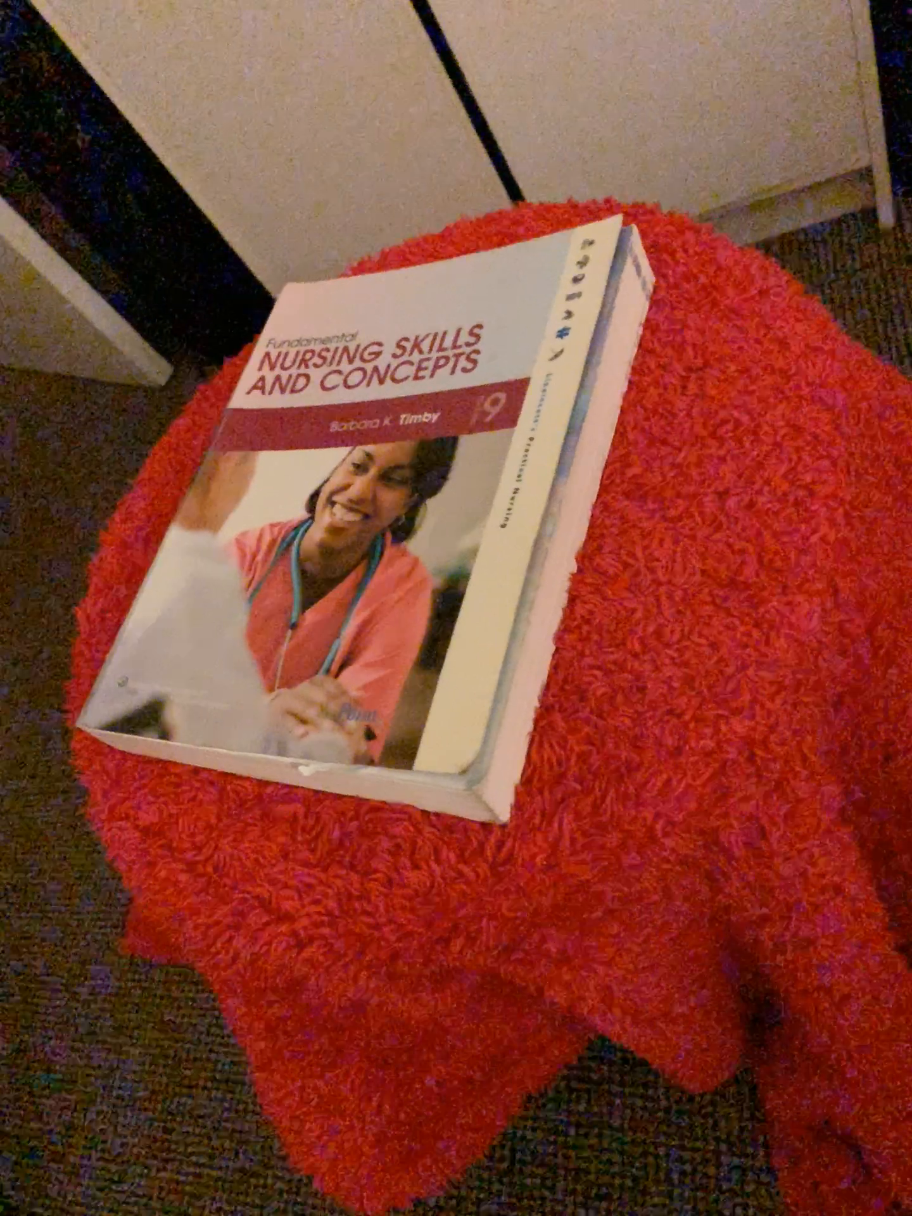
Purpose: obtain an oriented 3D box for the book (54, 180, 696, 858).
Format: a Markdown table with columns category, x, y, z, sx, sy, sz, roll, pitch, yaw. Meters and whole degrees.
| category | x | y | z | sx | sy | sz | roll | pitch | yaw |
| --- | --- | --- | --- | --- | --- | --- | --- | --- | --- |
| book | -0.031 | -0.055 | 0.461 | 0.231 | 0.069 | 0.301 | 2 | 61 | 32 |
